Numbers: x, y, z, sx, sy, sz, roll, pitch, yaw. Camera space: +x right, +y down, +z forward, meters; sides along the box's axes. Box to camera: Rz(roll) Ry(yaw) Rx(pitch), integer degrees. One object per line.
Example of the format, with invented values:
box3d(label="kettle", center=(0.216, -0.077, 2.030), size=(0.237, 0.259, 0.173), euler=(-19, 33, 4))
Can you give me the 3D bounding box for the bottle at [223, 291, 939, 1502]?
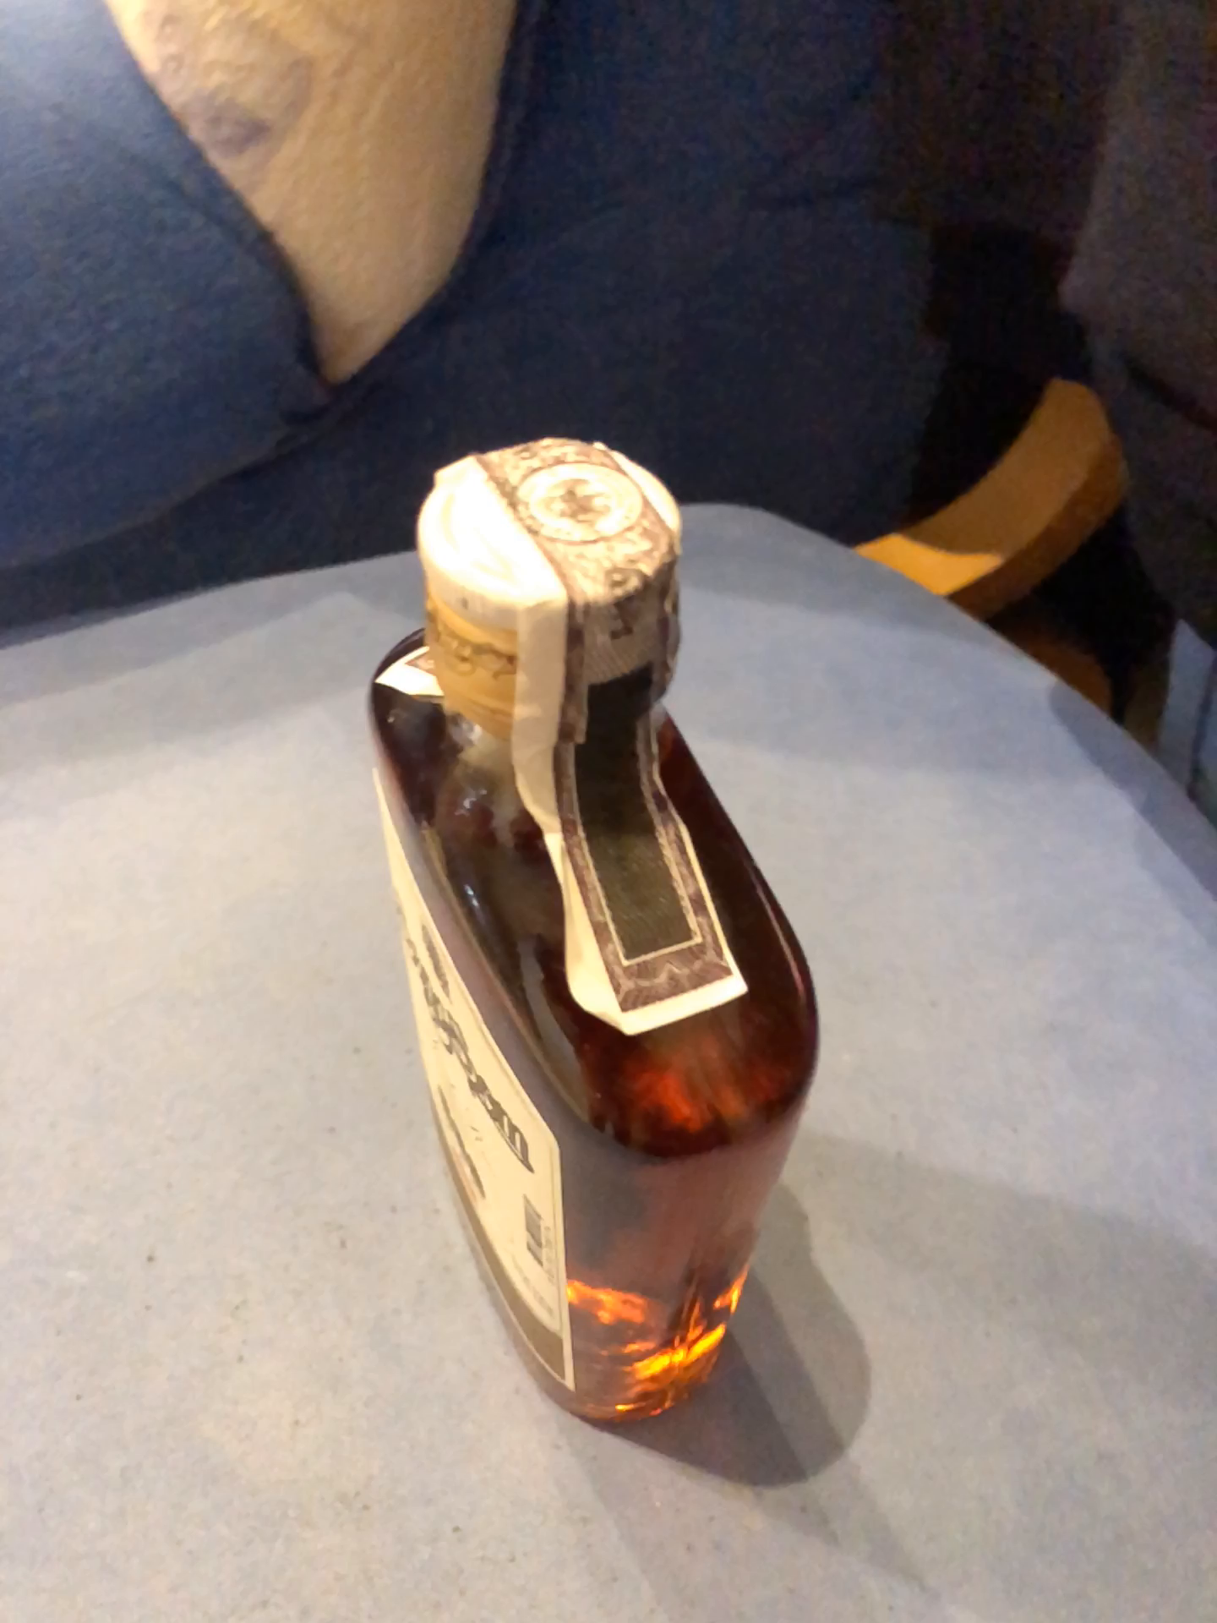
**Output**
box3d(label="bottle", center=(-0.004, 0.029, 0.209), size=(0.041, 0.179, 0.090), euler=(-21, 52, -13))
